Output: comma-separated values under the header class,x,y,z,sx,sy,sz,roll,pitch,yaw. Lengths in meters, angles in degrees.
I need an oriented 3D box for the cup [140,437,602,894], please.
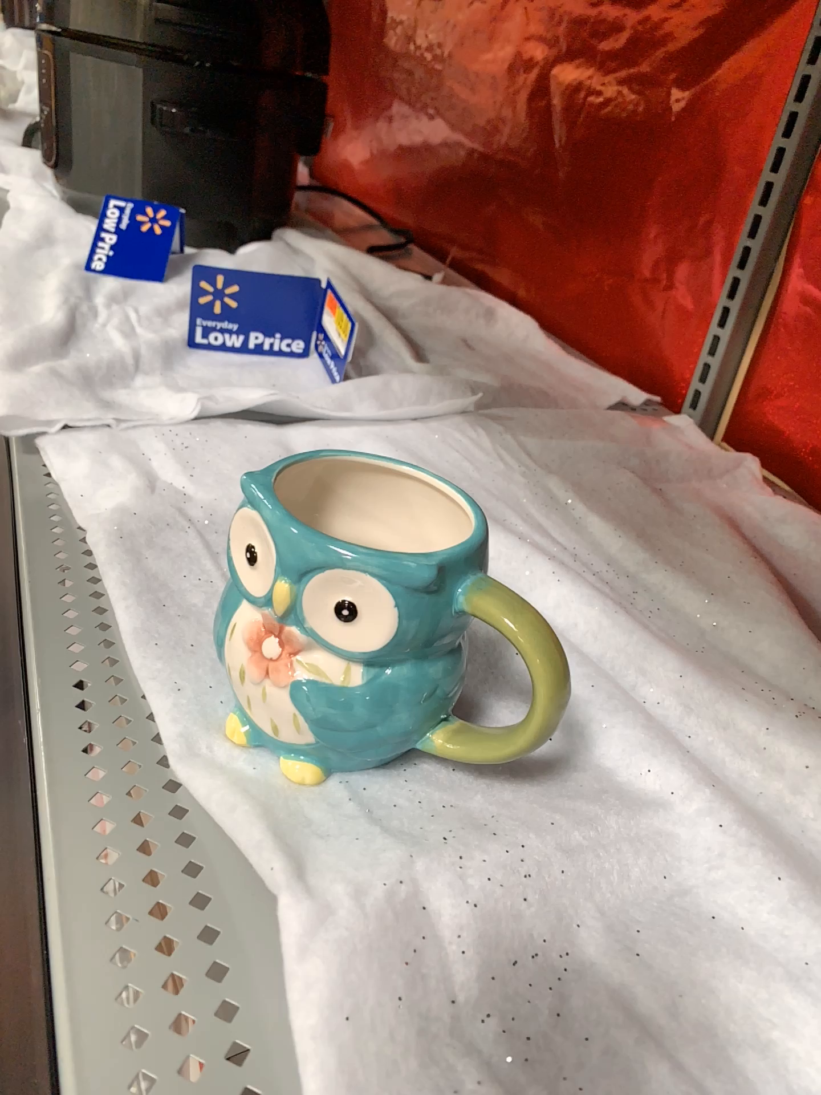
class,x,y,z,sx,sy,sz,roll,pitch,yaw
cup,-0.017,0.033,0.324,0.127,0.087,0.108,26,34,25
